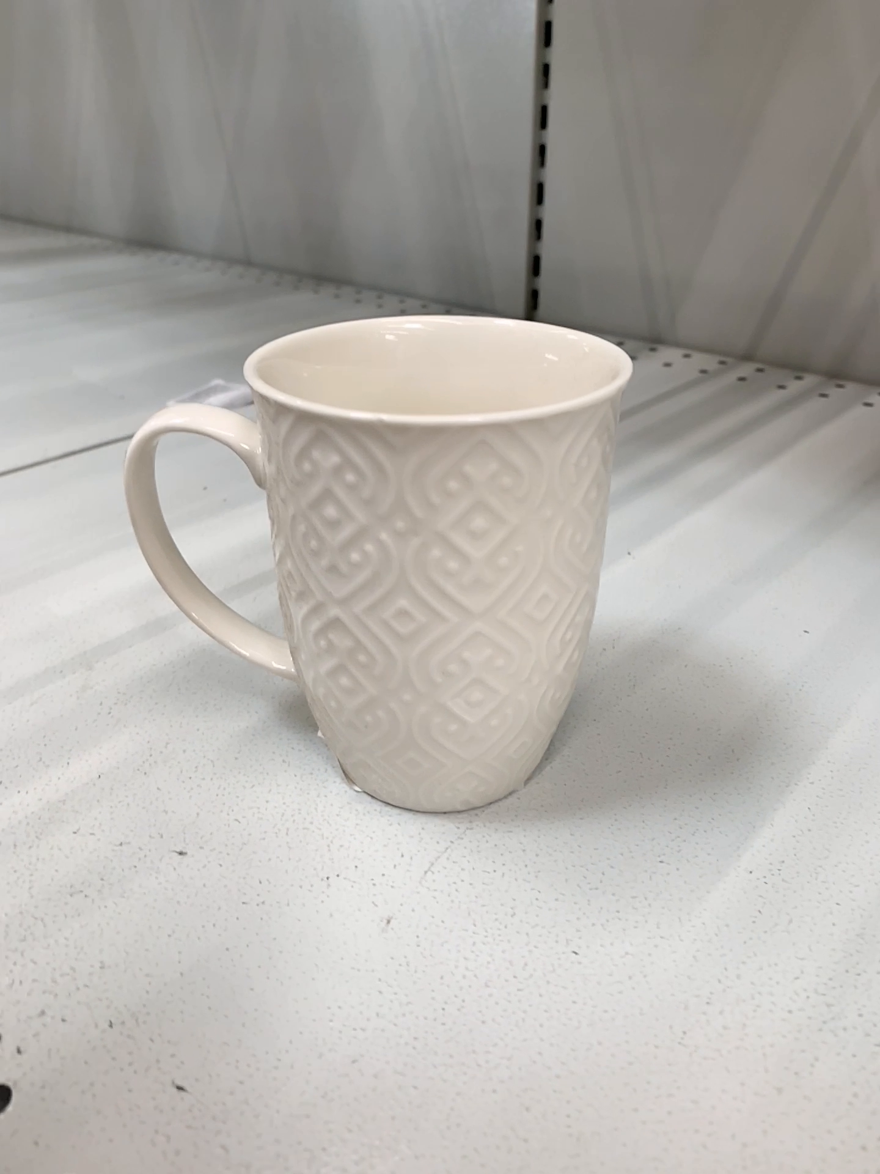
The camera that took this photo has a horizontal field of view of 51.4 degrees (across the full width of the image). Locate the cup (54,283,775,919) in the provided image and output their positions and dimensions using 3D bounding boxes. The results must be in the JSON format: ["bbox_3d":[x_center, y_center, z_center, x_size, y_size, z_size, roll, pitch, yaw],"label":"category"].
[{"bbox_3d":[-0.003,-0.010,0.225,0.132,0.098,0.092,15,31,24],"label":"cup"}]
